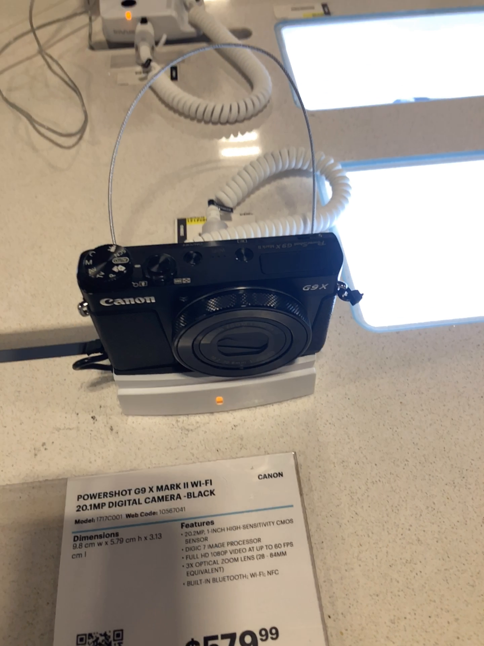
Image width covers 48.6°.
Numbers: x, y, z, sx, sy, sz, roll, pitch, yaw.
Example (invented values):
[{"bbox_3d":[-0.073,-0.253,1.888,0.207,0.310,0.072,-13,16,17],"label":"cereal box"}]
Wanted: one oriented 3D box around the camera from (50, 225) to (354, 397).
[{"bbox_3d":[-0.013,-0.002,0.209,0.100,0.060,0.030,-4,54,-1],"label":"camera"}]
